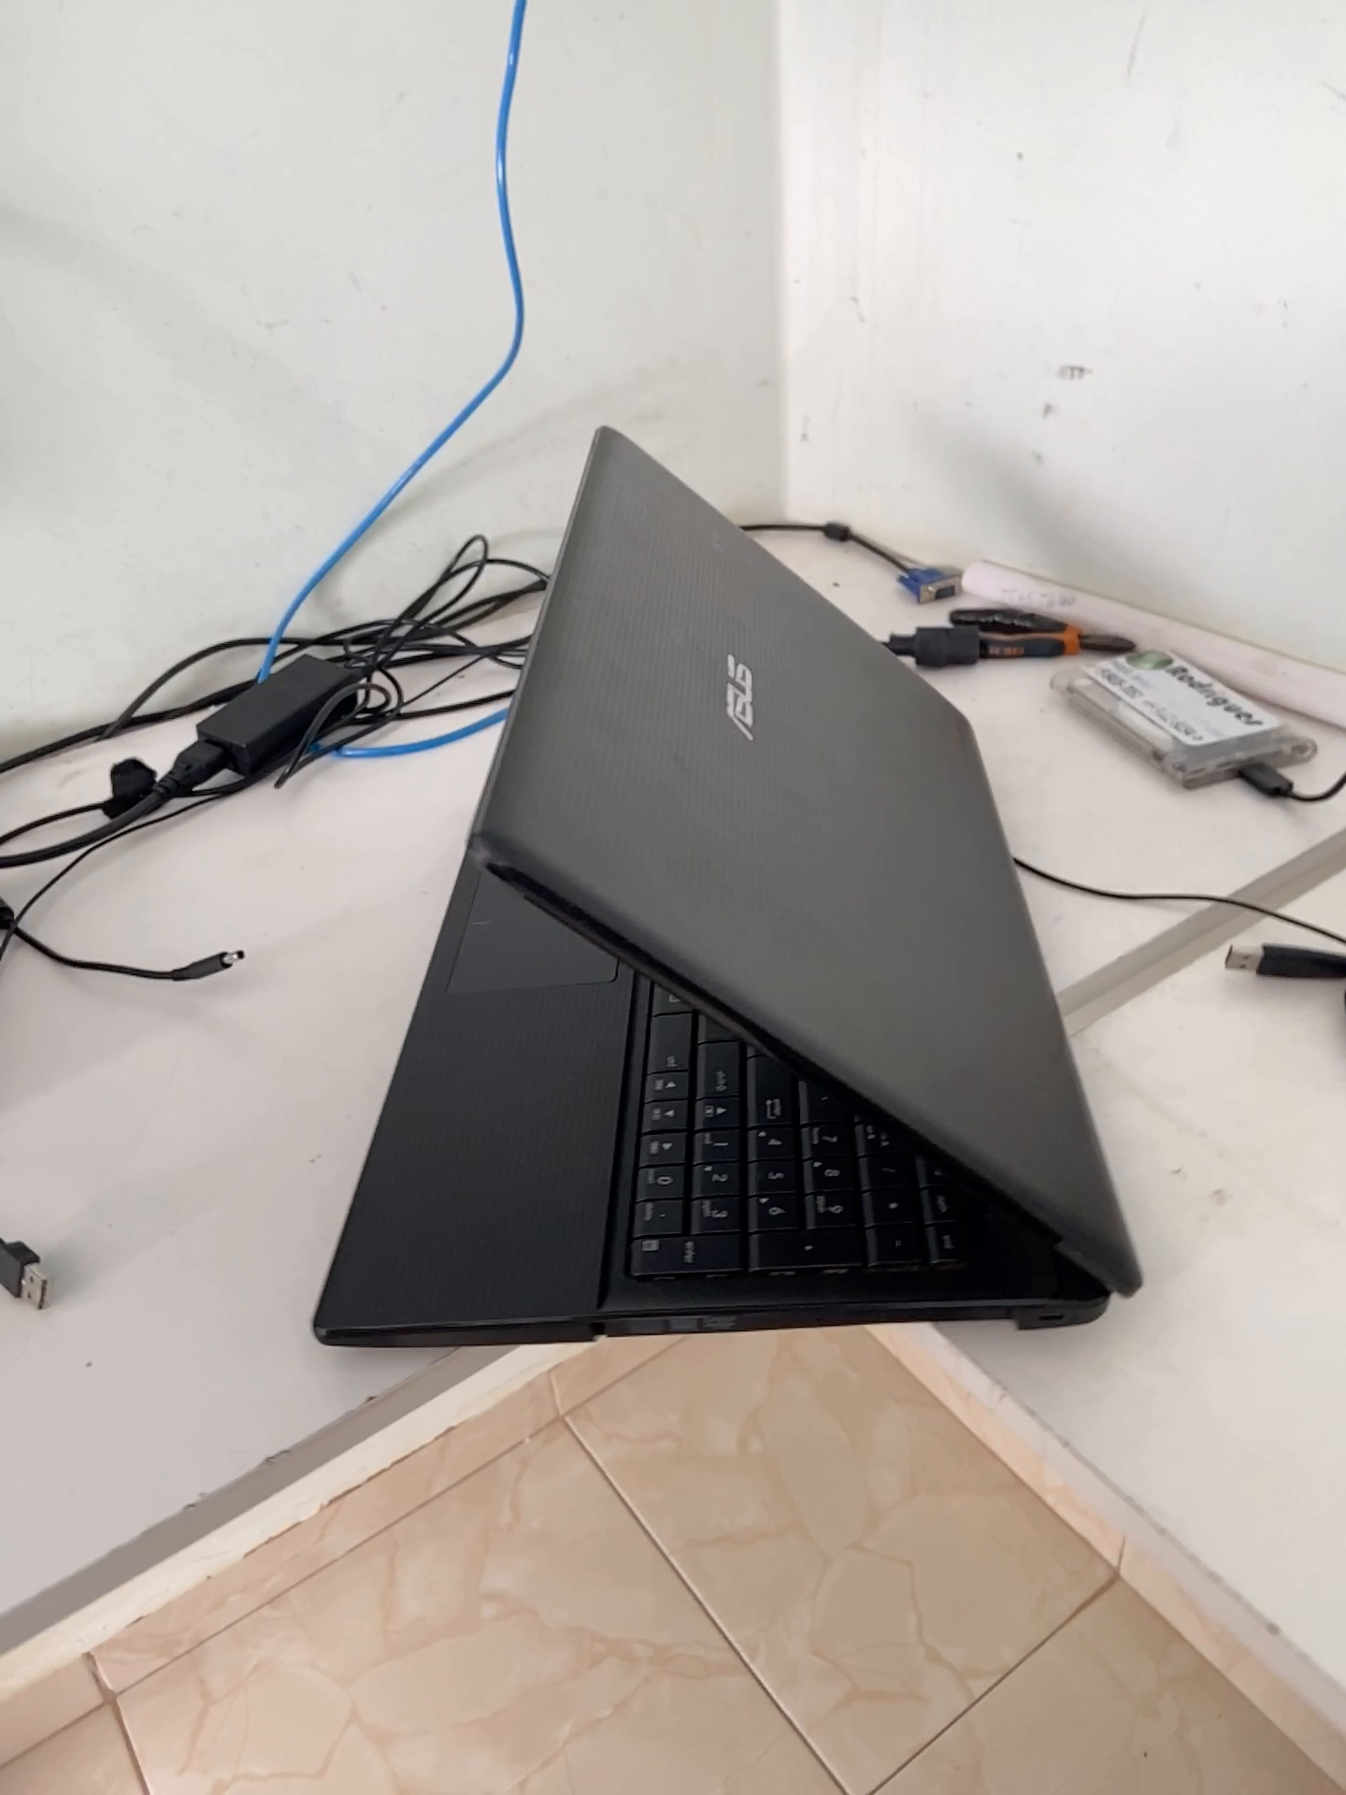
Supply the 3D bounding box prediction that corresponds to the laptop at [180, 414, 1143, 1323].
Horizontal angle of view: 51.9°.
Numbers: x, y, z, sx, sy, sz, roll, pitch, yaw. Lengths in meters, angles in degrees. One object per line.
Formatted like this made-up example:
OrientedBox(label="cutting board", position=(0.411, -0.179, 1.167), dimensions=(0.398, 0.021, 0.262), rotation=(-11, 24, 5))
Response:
OrientedBox(label="laptop", position=(0.005, -0.044, 0.551), dimensions=(0.246, 0.166, 0.378), rotation=(-4, 33, 6))
